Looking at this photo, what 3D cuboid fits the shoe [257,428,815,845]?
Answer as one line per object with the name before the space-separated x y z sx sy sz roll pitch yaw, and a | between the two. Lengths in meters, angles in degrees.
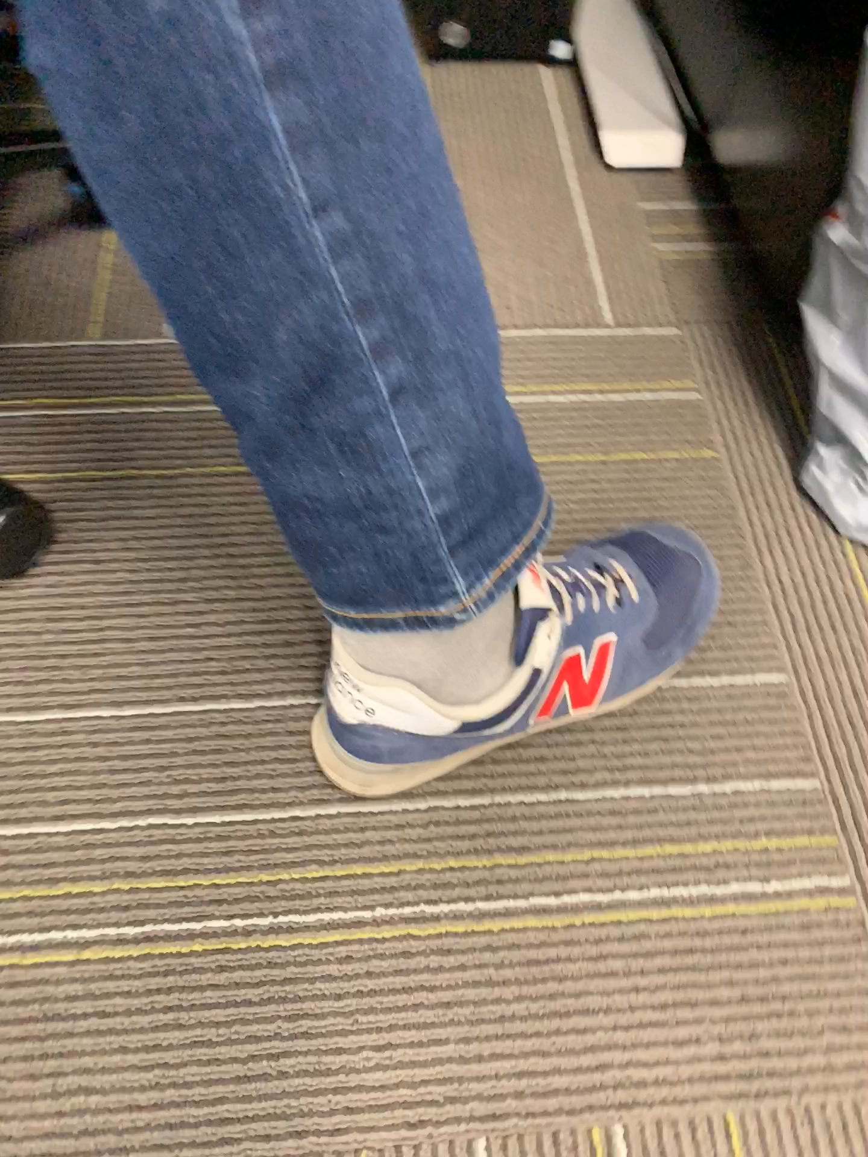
shoe | 0.060 0.036 0.568 0.307 0.139 0.108 -22 63 -15
